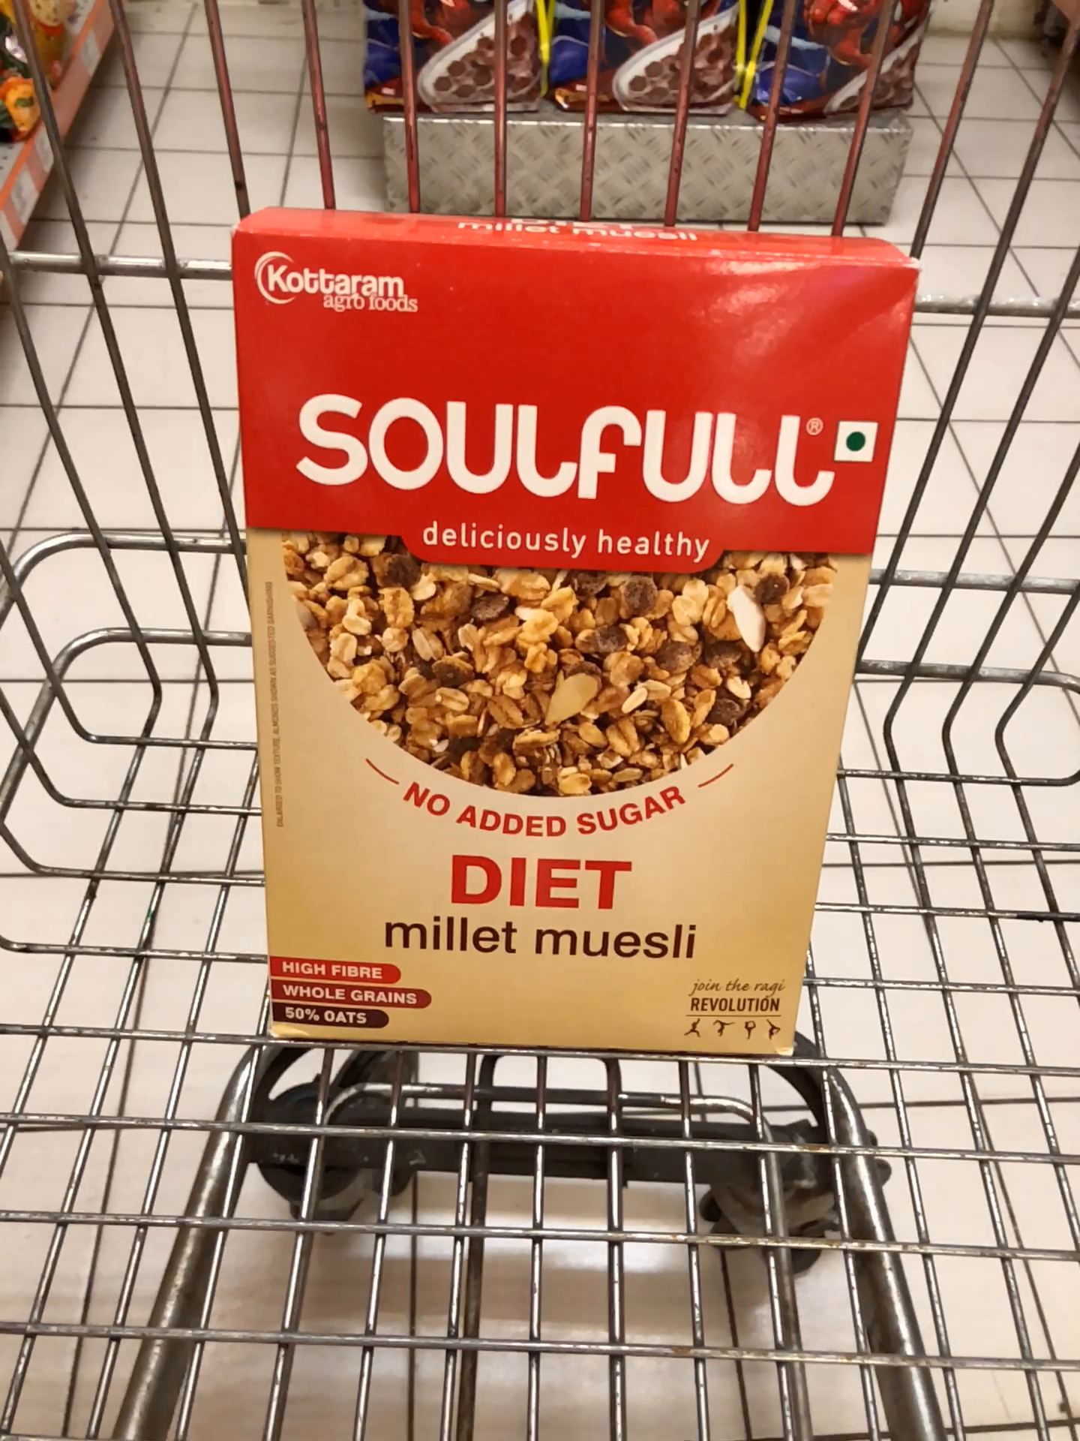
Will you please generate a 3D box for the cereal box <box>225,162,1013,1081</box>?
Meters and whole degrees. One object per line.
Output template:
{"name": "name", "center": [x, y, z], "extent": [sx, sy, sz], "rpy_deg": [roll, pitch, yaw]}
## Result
{"name": "cereal box", "center": [0.010, -0.013, 0.337], "extent": [0.170, 0.249, 0.050], "rpy_deg": [3, 28, -2]}
